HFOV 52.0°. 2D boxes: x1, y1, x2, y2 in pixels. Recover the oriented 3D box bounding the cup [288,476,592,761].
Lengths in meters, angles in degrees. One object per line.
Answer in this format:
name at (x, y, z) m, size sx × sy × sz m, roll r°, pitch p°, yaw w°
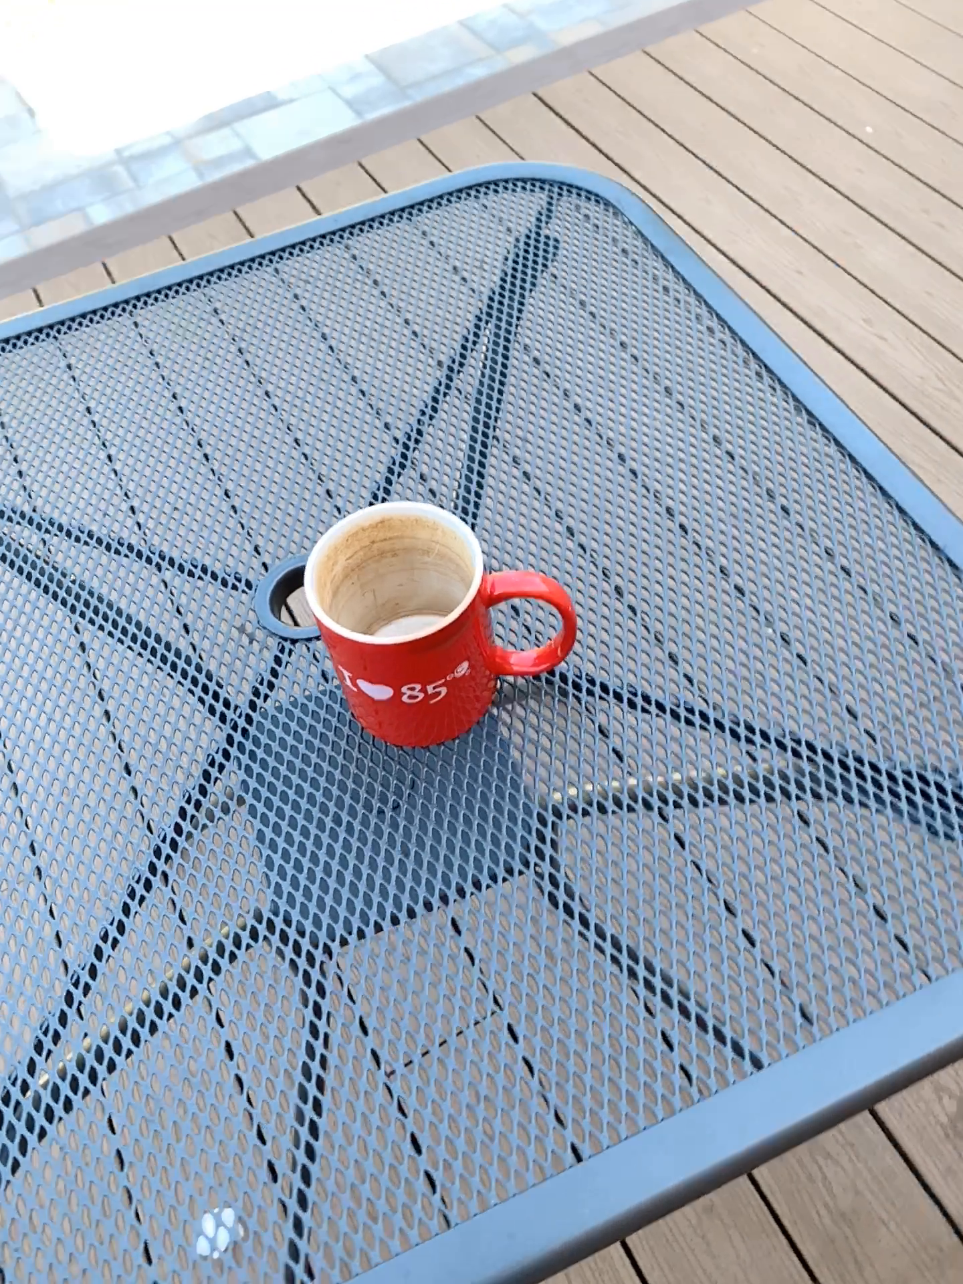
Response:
cup at (-0.015, -0.008, 0.485) m, size 0.130 × 0.100 × 0.090 m, roll -4°, pitch 57°, yaw 4°
